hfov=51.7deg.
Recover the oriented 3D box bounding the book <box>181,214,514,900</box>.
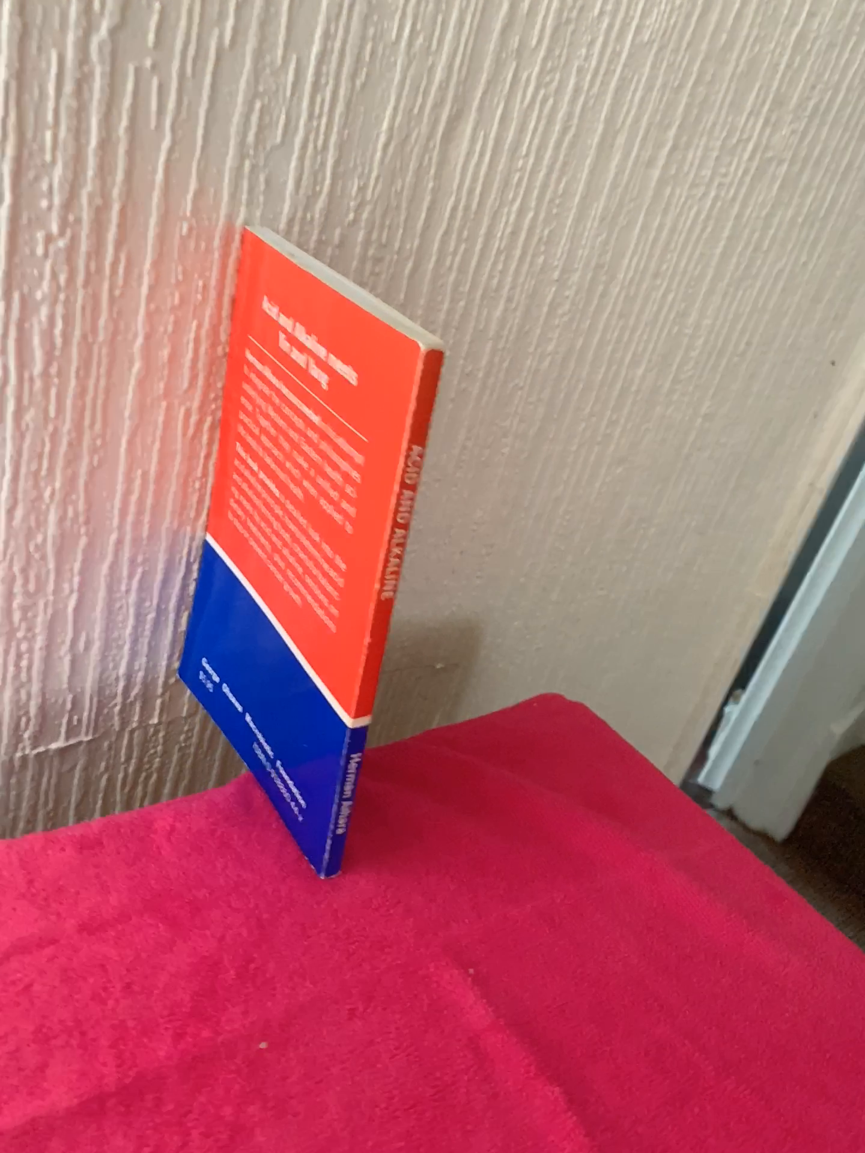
[{"bbox_3d":[-0.050,-0.009,0.337,0.020,0.208,0.151,-9,36,-36],"label":"book"}]
